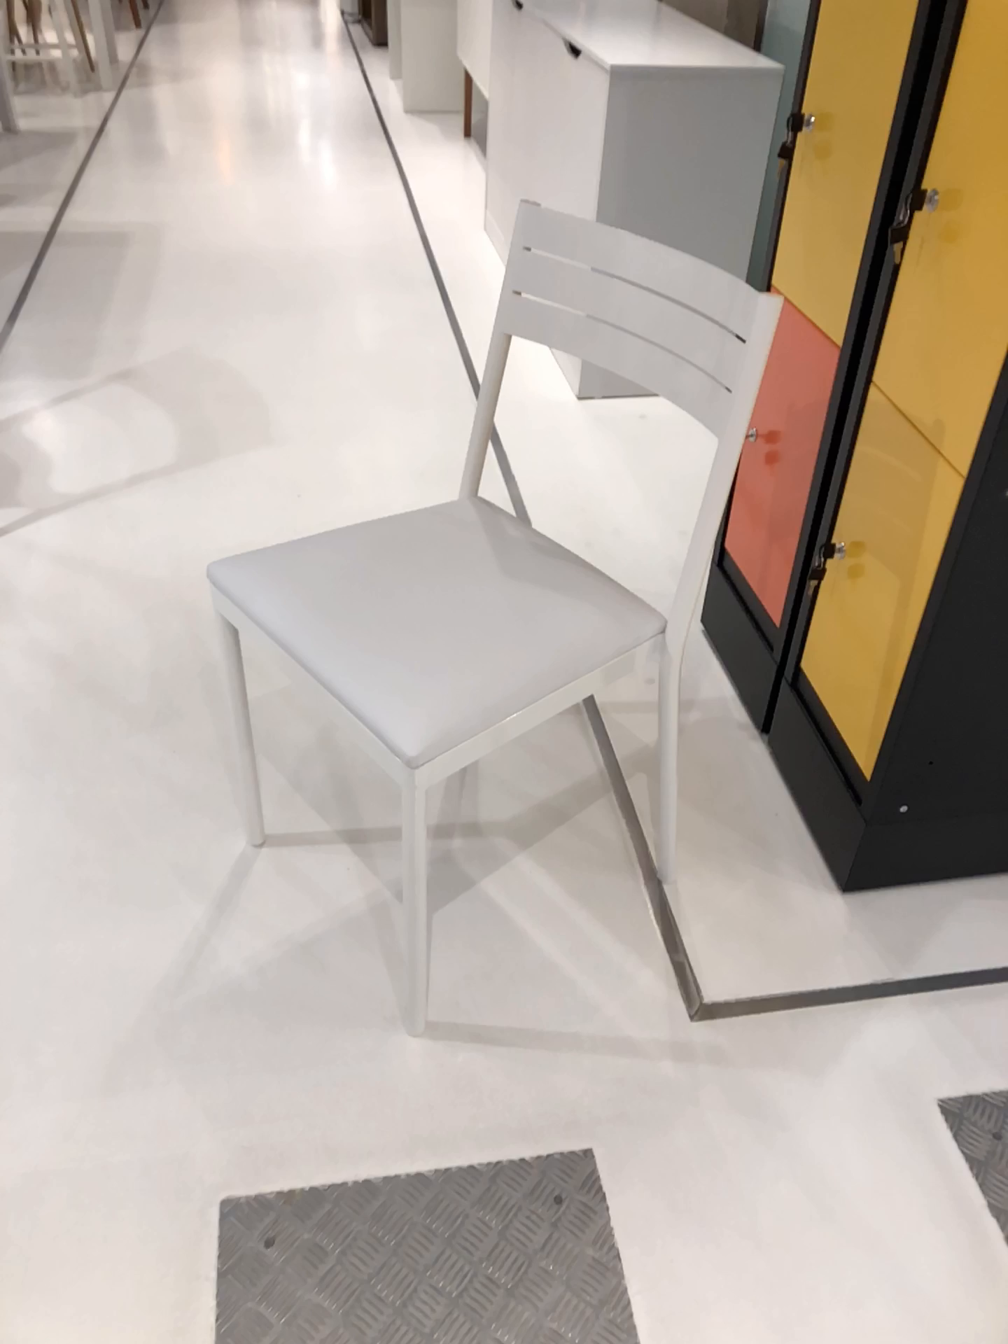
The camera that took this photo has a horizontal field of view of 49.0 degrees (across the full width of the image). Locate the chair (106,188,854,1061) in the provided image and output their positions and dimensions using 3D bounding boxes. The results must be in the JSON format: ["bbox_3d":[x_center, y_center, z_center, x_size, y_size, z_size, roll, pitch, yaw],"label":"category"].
[{"bbox_3d":[-0.039,-0.078,1.278,0.532,0.734,0.482,-25,45,-31],"label":"chair"}]
